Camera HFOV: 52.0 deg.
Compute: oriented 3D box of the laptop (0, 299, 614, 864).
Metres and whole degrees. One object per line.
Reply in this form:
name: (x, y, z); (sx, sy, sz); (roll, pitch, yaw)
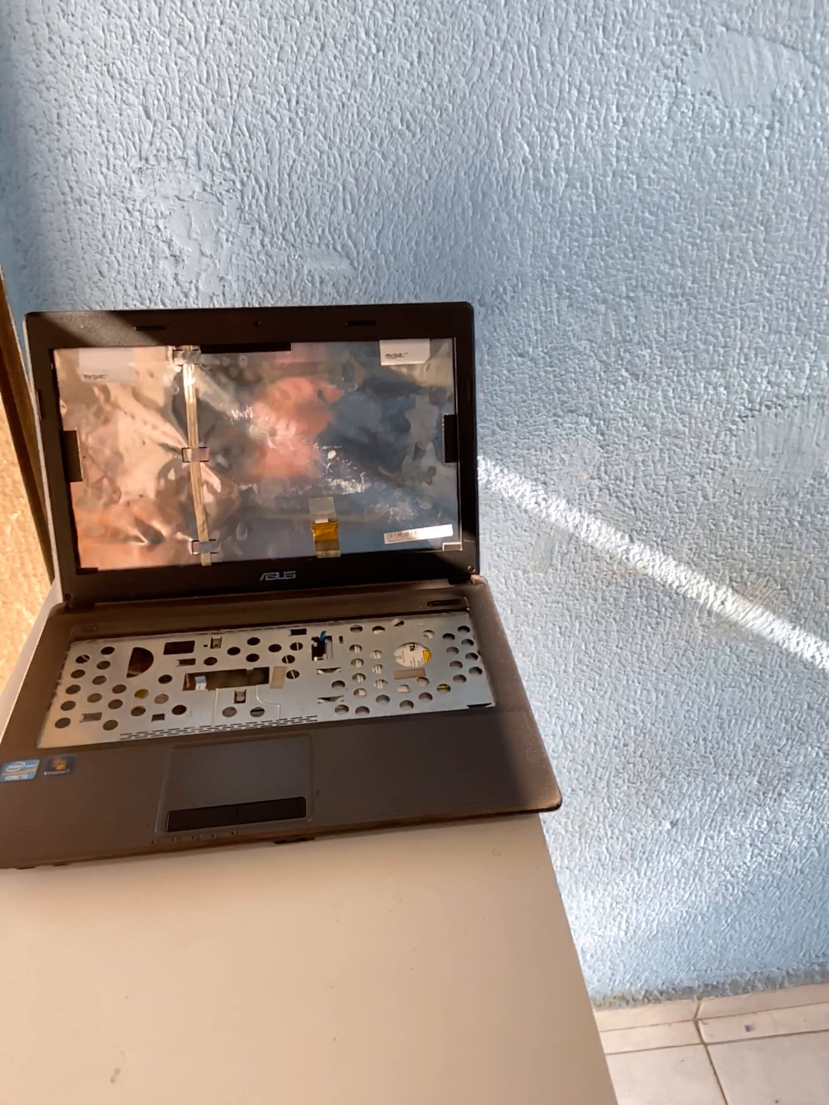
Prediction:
laptop: (-0.098, -0.014, 0.567); (0.336, 0.202, 0.329); (-3, 33, -7)
